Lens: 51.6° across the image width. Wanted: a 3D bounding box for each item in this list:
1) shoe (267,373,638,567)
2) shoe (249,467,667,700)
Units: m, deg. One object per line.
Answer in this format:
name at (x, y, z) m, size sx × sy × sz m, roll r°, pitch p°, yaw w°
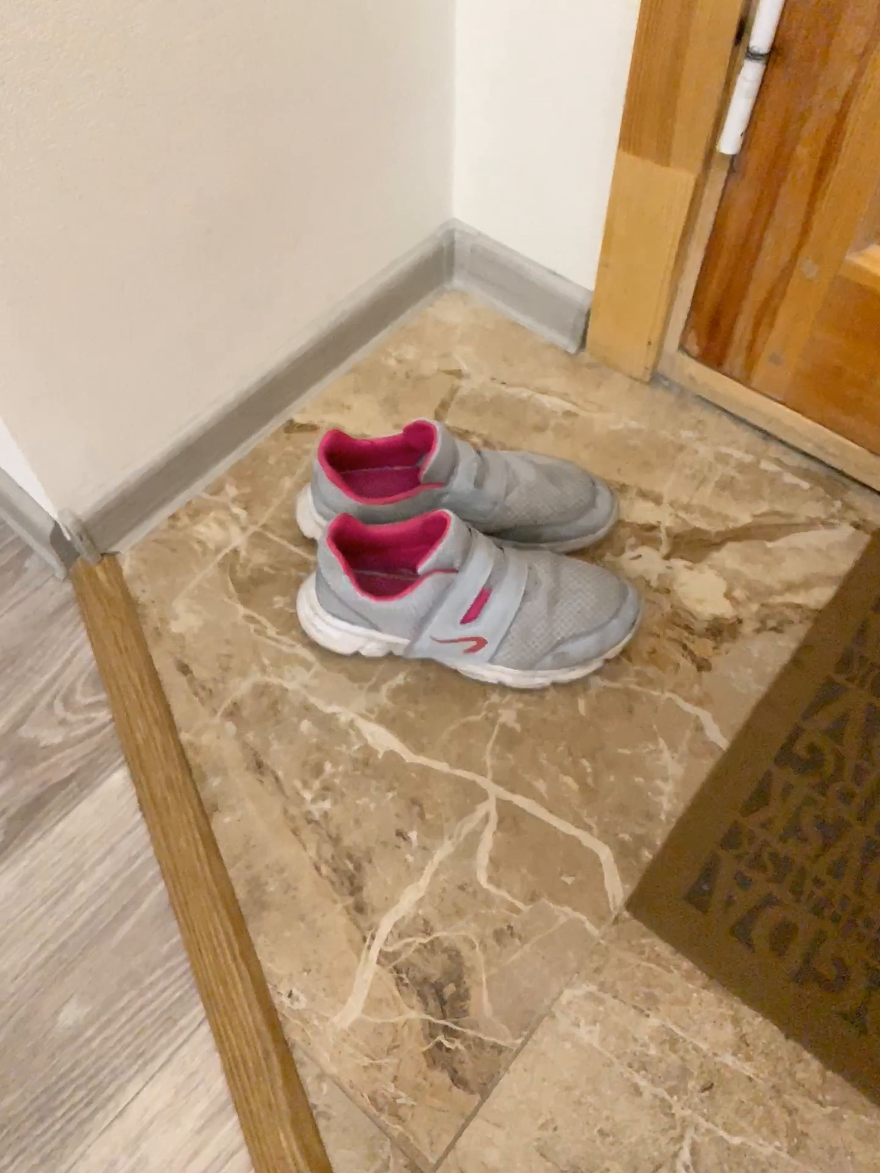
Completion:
shoe at (0.009, -0.086, 0.682) m, size 0.250 × 0.100 × 0.100 m, roll 1°, pitch 57°, yaw 1°
shoe at (0.015, -0.001, 0.633) m, size 0.260 × 0.100 × 0.100 m, roll 5°, pitch 57°, yaw 4°
